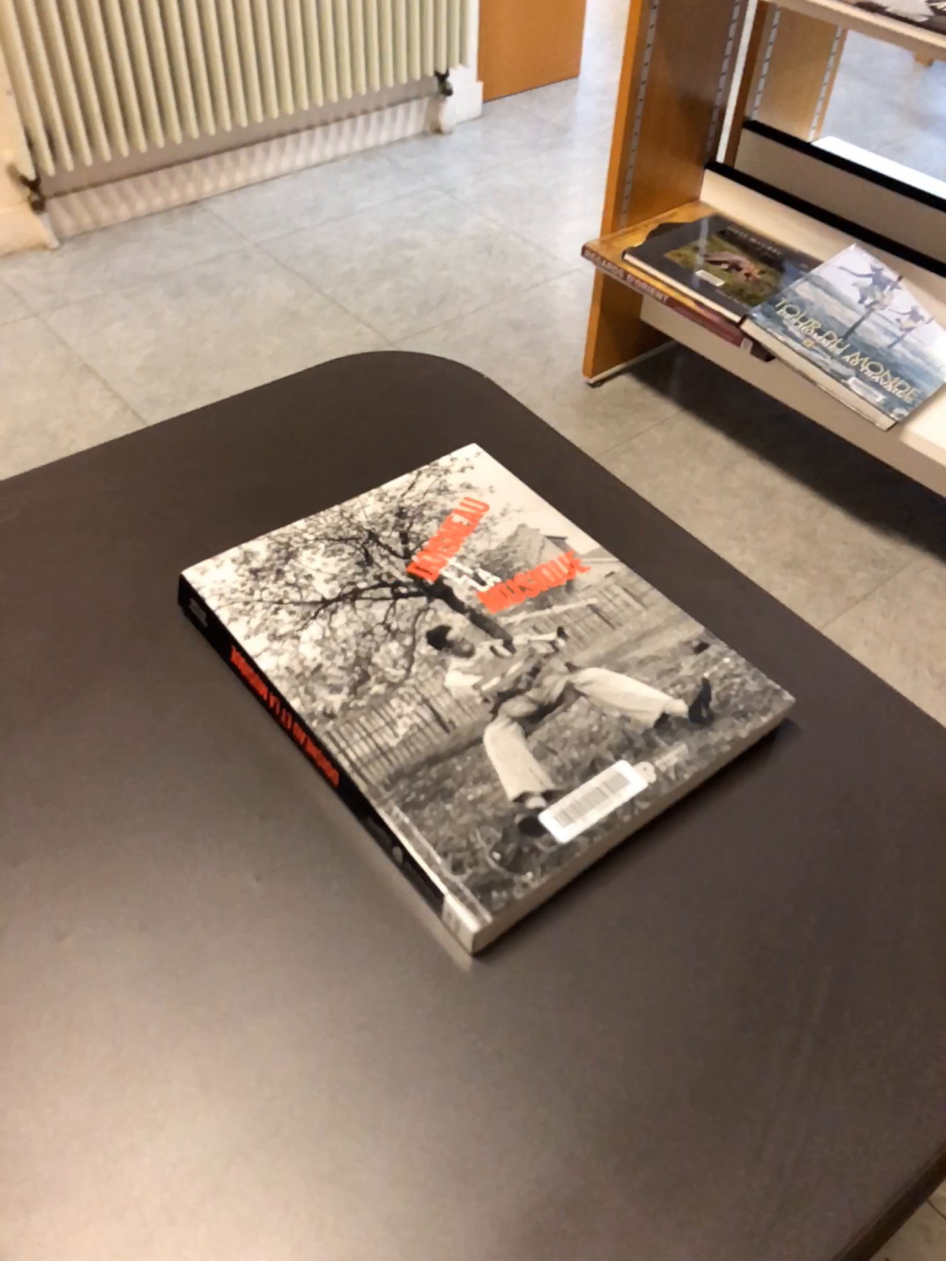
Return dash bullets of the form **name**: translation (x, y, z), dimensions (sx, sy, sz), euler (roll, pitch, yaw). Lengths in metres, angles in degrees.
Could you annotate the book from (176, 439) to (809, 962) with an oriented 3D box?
- **book**: translation (0.001, 0.009, 0.509), dimensions (0.195, 0.030, 0.250), euler (-28, 52, -26)
